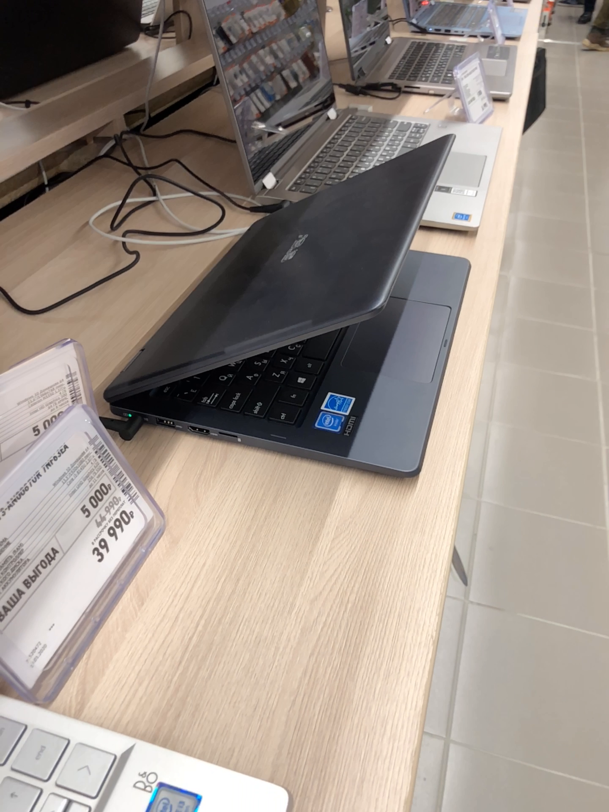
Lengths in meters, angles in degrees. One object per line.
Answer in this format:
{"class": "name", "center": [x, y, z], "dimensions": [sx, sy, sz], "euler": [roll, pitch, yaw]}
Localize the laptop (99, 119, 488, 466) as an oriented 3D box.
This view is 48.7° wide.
{"class": "laptop", "center": [0.016, -0.104, 0.474], "dimensions": [0.185, 0.097, 0.273], "euler": [12, 40, 12]}
